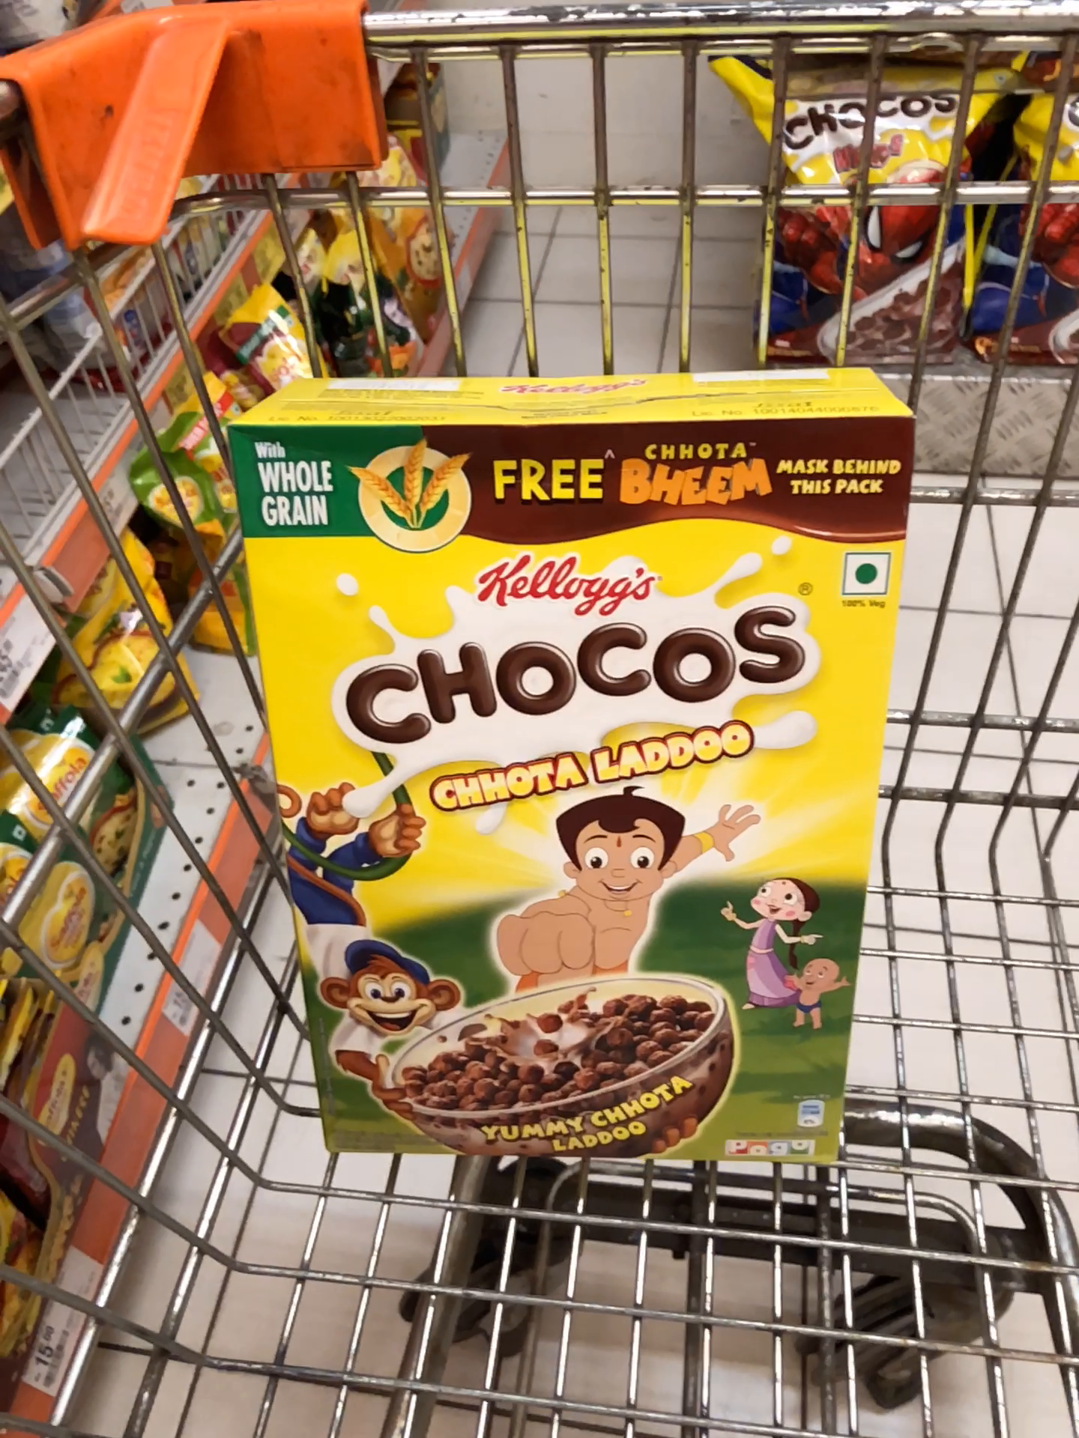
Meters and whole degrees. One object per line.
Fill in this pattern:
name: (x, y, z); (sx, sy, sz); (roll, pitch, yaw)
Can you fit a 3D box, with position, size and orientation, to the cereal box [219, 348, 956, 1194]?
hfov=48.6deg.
cereal box: (0.017, 0.020, 0.375); (0.180, 0.249, 0.080); (-1, 22, 5)
